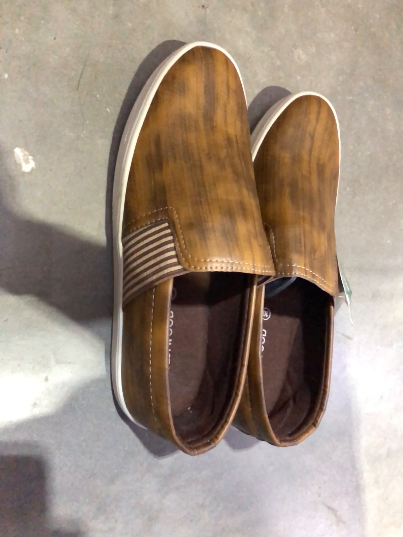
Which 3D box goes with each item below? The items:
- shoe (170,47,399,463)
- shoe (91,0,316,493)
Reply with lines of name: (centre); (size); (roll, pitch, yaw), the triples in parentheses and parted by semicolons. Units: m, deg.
shoe: (0.068, -0.005, 0.375); (0.110, 0.100, 0.290); (12, 85, -27)
shoe: (-0.003, -0.018, 0.317); (0.100, 0.100, 0.290); (6, 87, -28)
